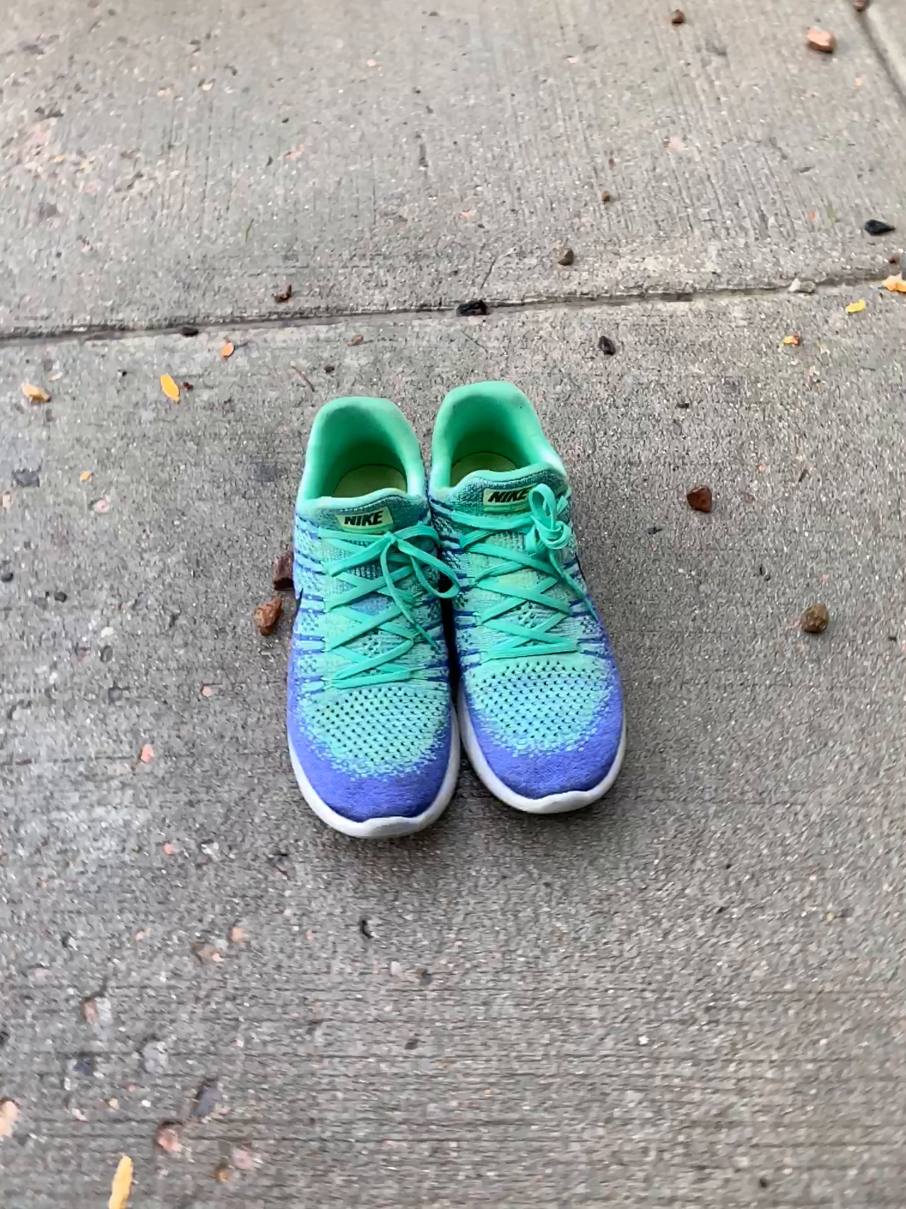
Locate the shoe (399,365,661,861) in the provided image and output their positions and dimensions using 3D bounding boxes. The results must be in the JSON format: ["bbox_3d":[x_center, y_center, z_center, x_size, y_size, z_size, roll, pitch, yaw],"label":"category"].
[{"bbox_3d":[0.038,0.001,0.596,0.120,0.110,0.290,-5,64,-1],"label":"shoe"}]

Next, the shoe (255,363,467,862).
[{"bbox_3d":[-0.059,0.001,0.549,0.100,0.110,0.270,-2,64,-6],"label":"shoe"}]
